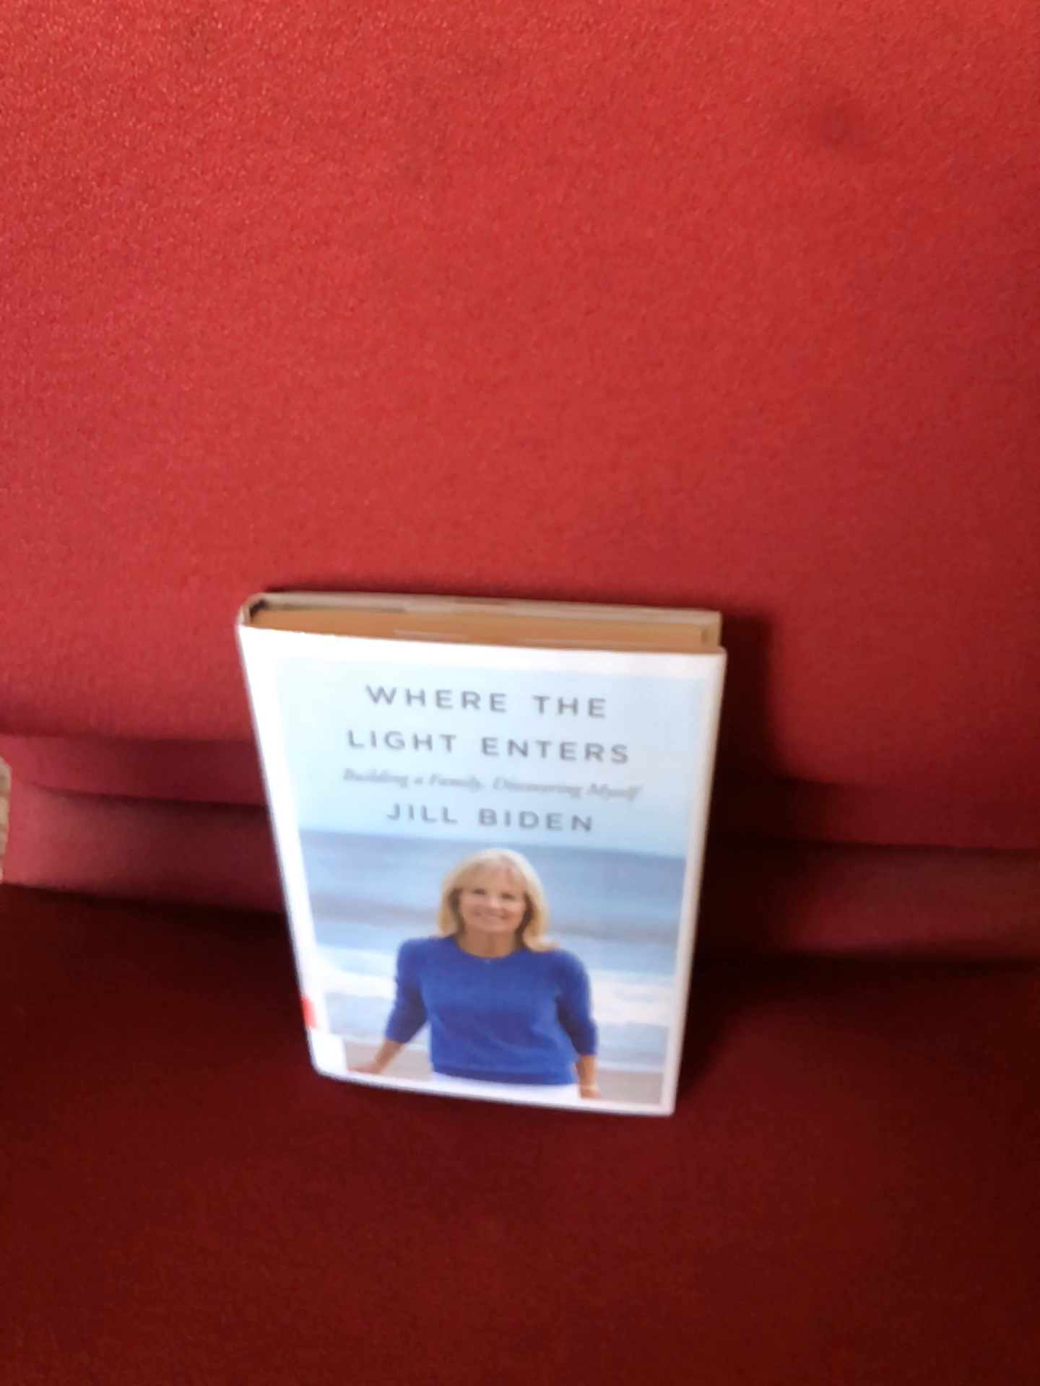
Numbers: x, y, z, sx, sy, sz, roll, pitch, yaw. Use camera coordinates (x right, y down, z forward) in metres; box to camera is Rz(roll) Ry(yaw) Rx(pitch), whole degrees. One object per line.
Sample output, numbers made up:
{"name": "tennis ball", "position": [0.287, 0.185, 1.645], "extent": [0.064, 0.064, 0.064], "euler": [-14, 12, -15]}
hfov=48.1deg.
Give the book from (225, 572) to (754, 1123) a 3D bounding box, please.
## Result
{"name": "book", "position": [-0.009, 0.063, 0.400], "extent": [0.150, 0.210, 0.030], "euler": [4, 35, 5]}
